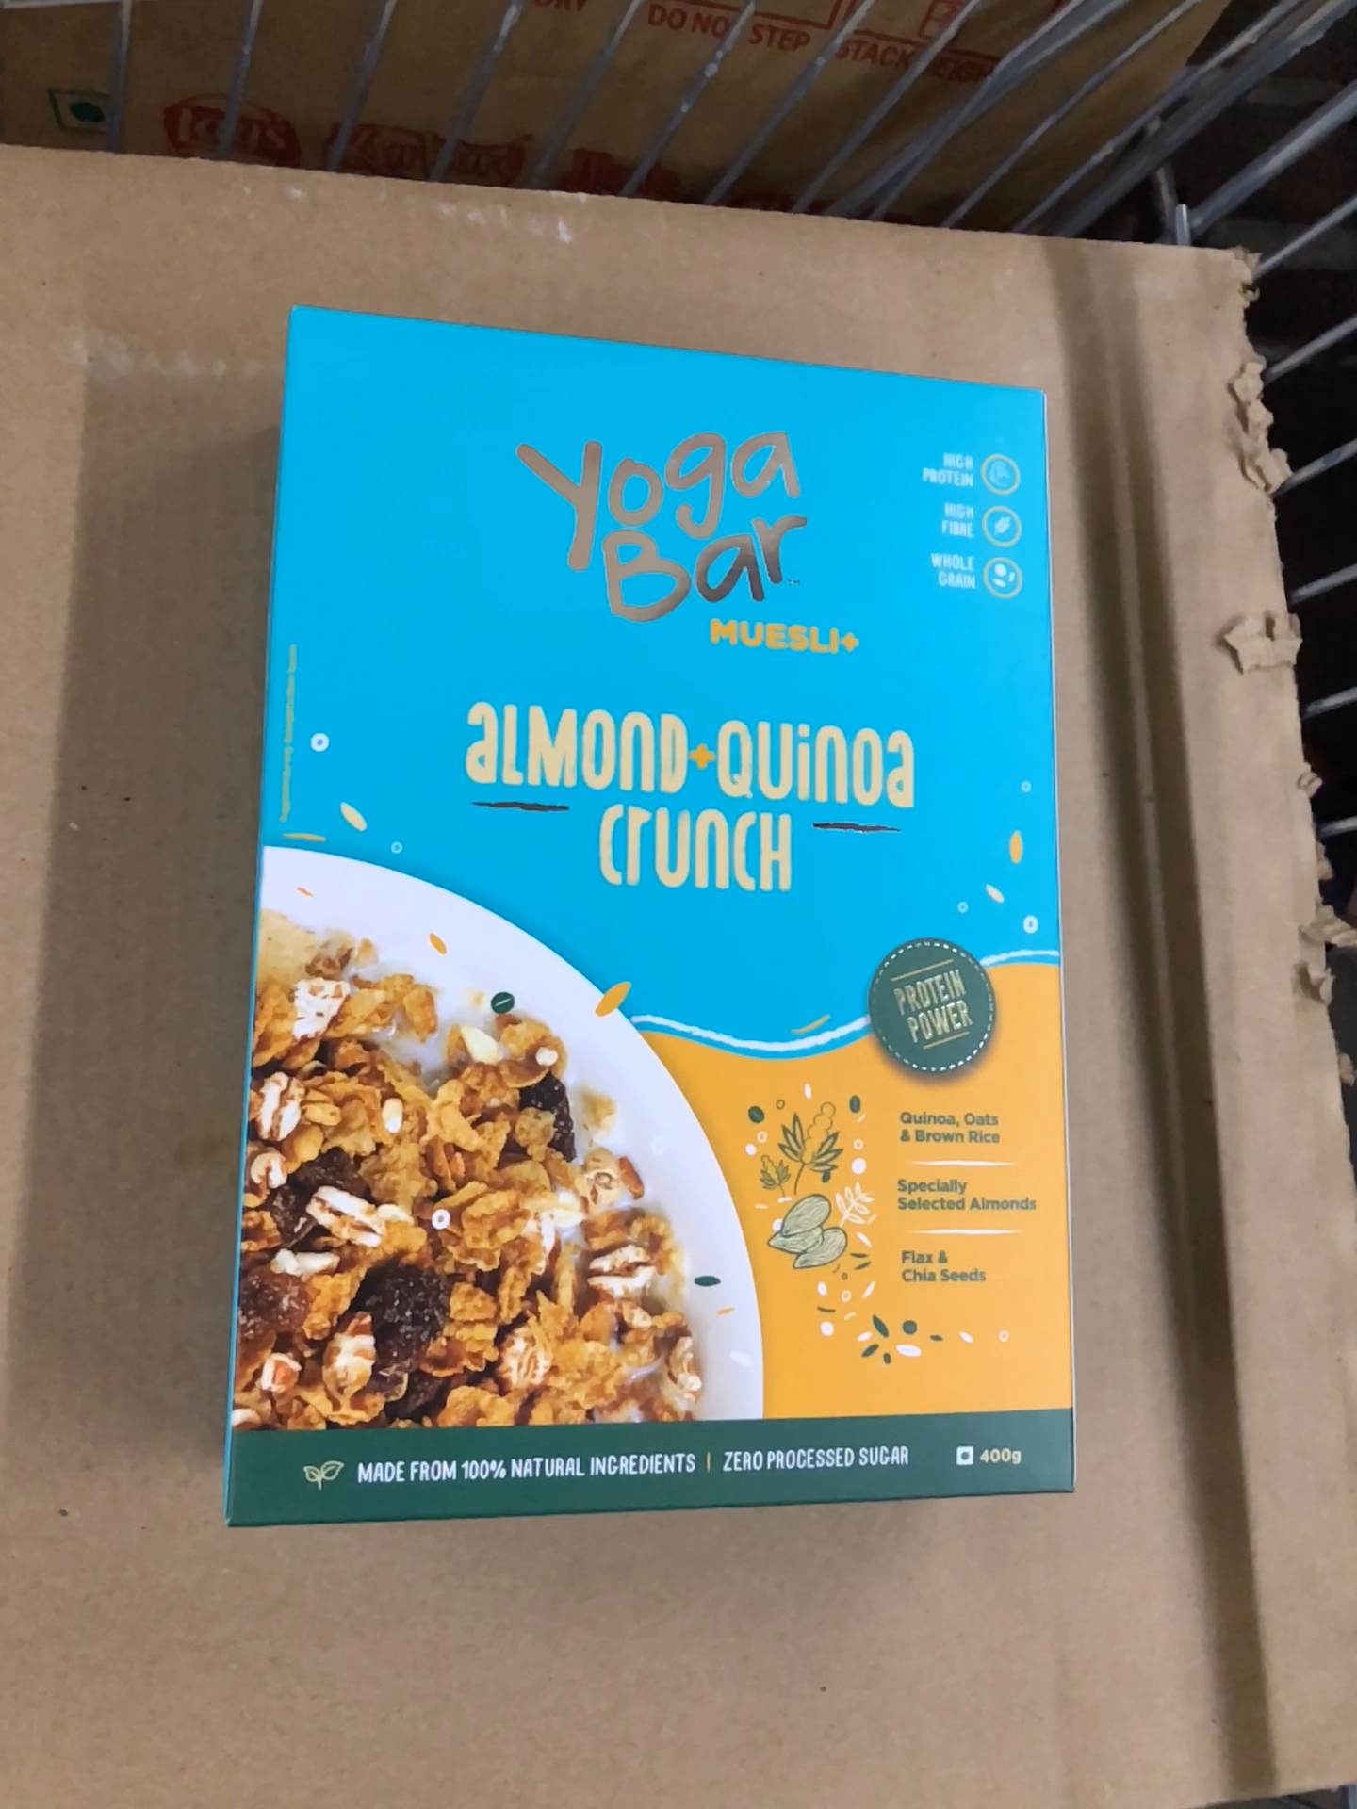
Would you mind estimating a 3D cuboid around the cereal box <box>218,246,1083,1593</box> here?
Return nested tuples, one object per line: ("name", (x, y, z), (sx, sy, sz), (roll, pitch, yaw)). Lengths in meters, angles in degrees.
("cereal box", (-0.008, 0.002, 0.320), (0.160, 0.070, 0.240), (2, 82, -15))
